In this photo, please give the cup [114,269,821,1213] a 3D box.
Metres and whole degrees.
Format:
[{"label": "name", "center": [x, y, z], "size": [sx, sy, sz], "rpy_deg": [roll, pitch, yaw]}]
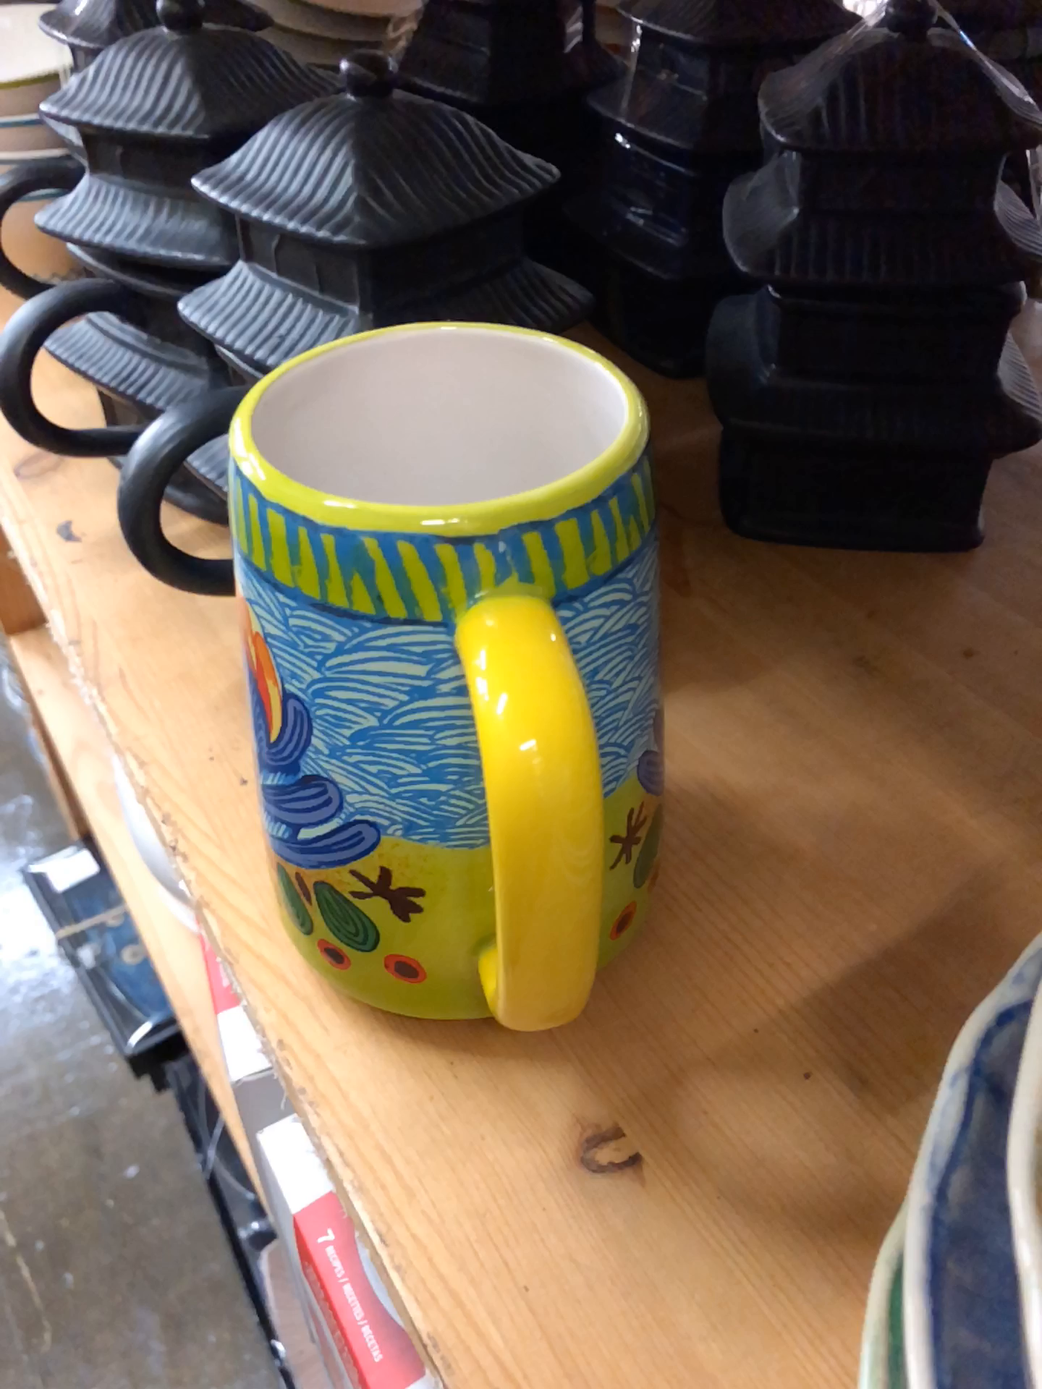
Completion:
[{"label": "cup", "center": [-0.015, 0.005, 0.222], "size": [0.086, 0.125, 0.114], "rpy_deg": [-9, 41, -9]}]
